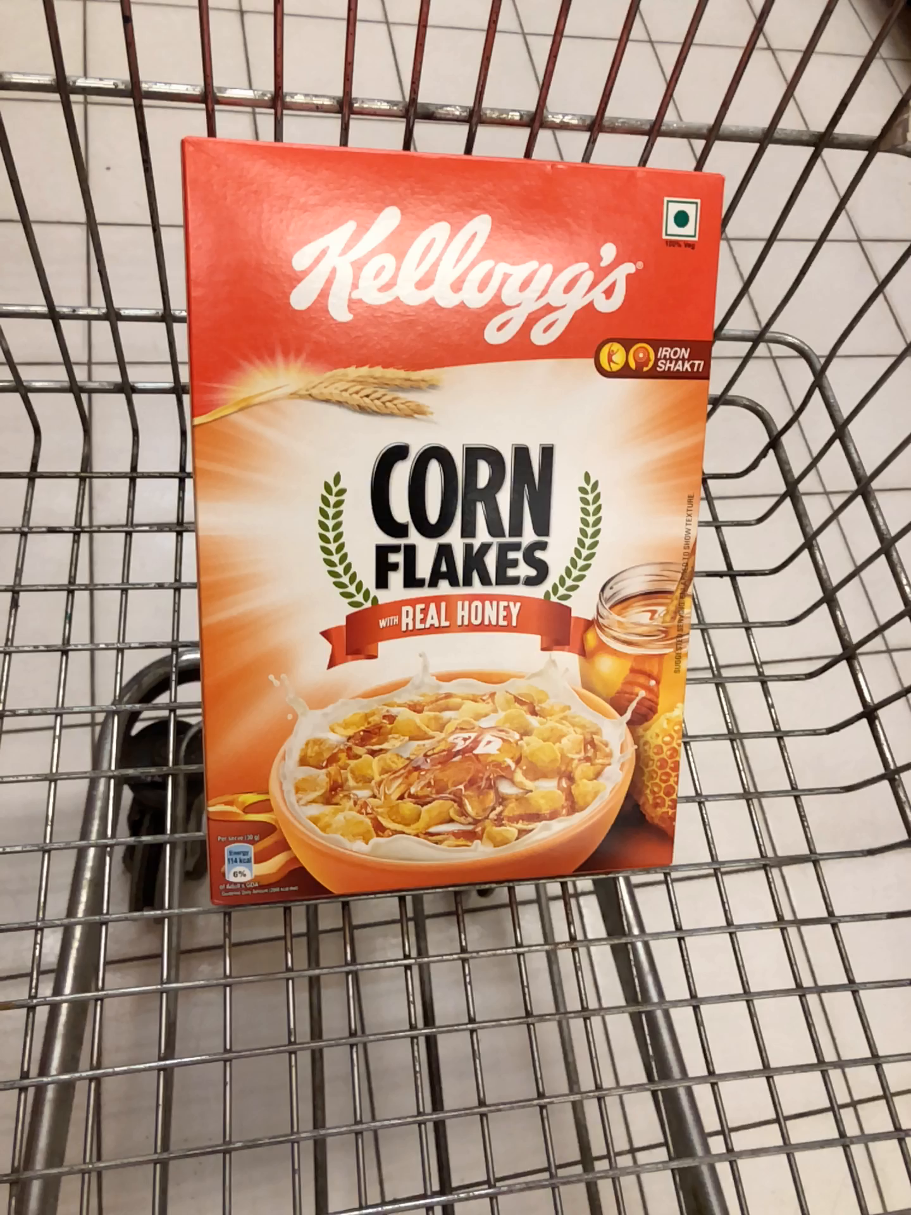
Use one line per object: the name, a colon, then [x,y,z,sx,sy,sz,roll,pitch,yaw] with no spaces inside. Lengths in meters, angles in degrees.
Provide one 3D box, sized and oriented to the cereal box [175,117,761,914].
cereal box: [-0.002,-0.030,0.385,0.190,0.080,0.259,-2,103,-13]
